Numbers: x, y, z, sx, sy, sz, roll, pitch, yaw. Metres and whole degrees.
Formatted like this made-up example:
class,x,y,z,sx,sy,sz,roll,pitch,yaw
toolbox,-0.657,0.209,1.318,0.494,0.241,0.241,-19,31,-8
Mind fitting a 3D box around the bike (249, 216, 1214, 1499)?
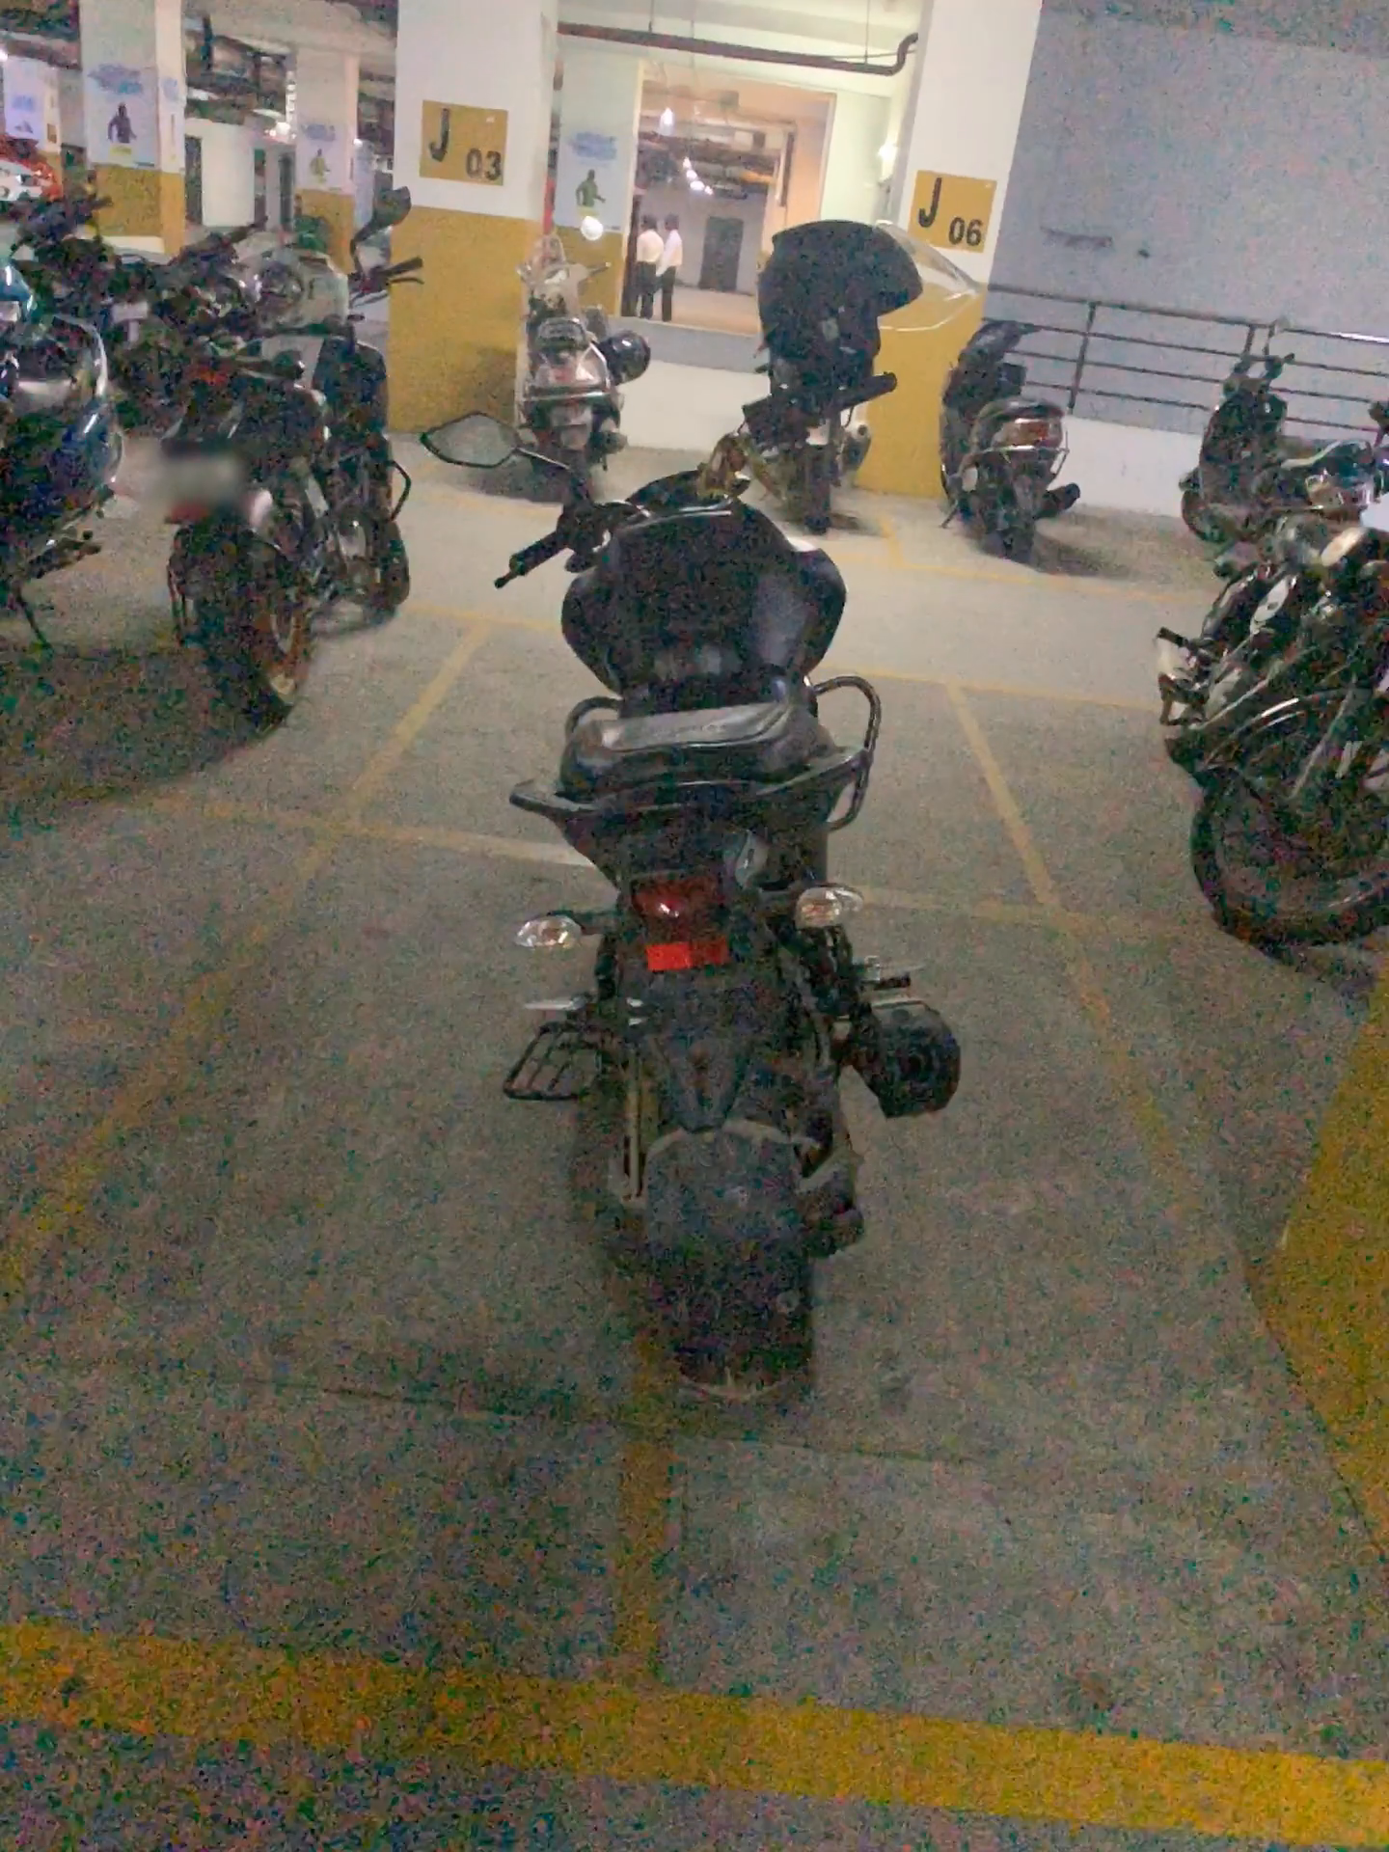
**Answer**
class,x,y,z,sx,sy,sz,roll,pitch,yaw
bike,-0.138,-0.323,2.118,0.785,1.096,1.744,4,29,-9
